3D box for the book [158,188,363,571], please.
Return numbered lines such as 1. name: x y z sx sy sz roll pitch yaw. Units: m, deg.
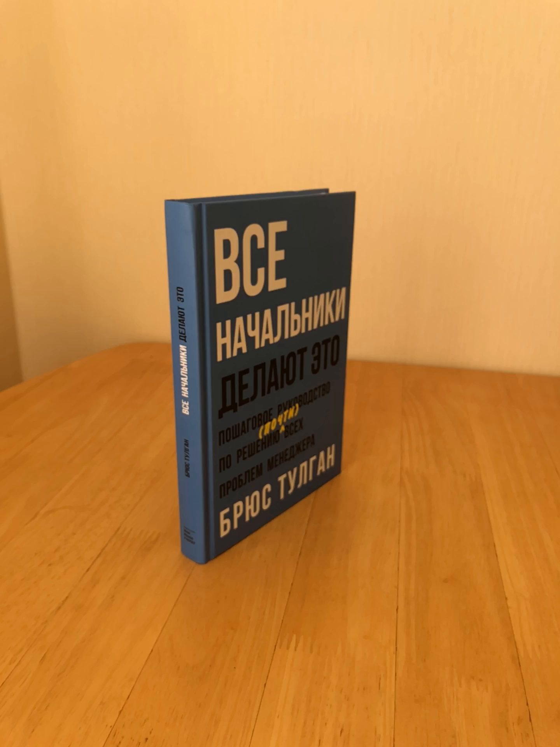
1. book: -0.005 -0.005 0.395 0.025 0.208 0.150 16 24 37
